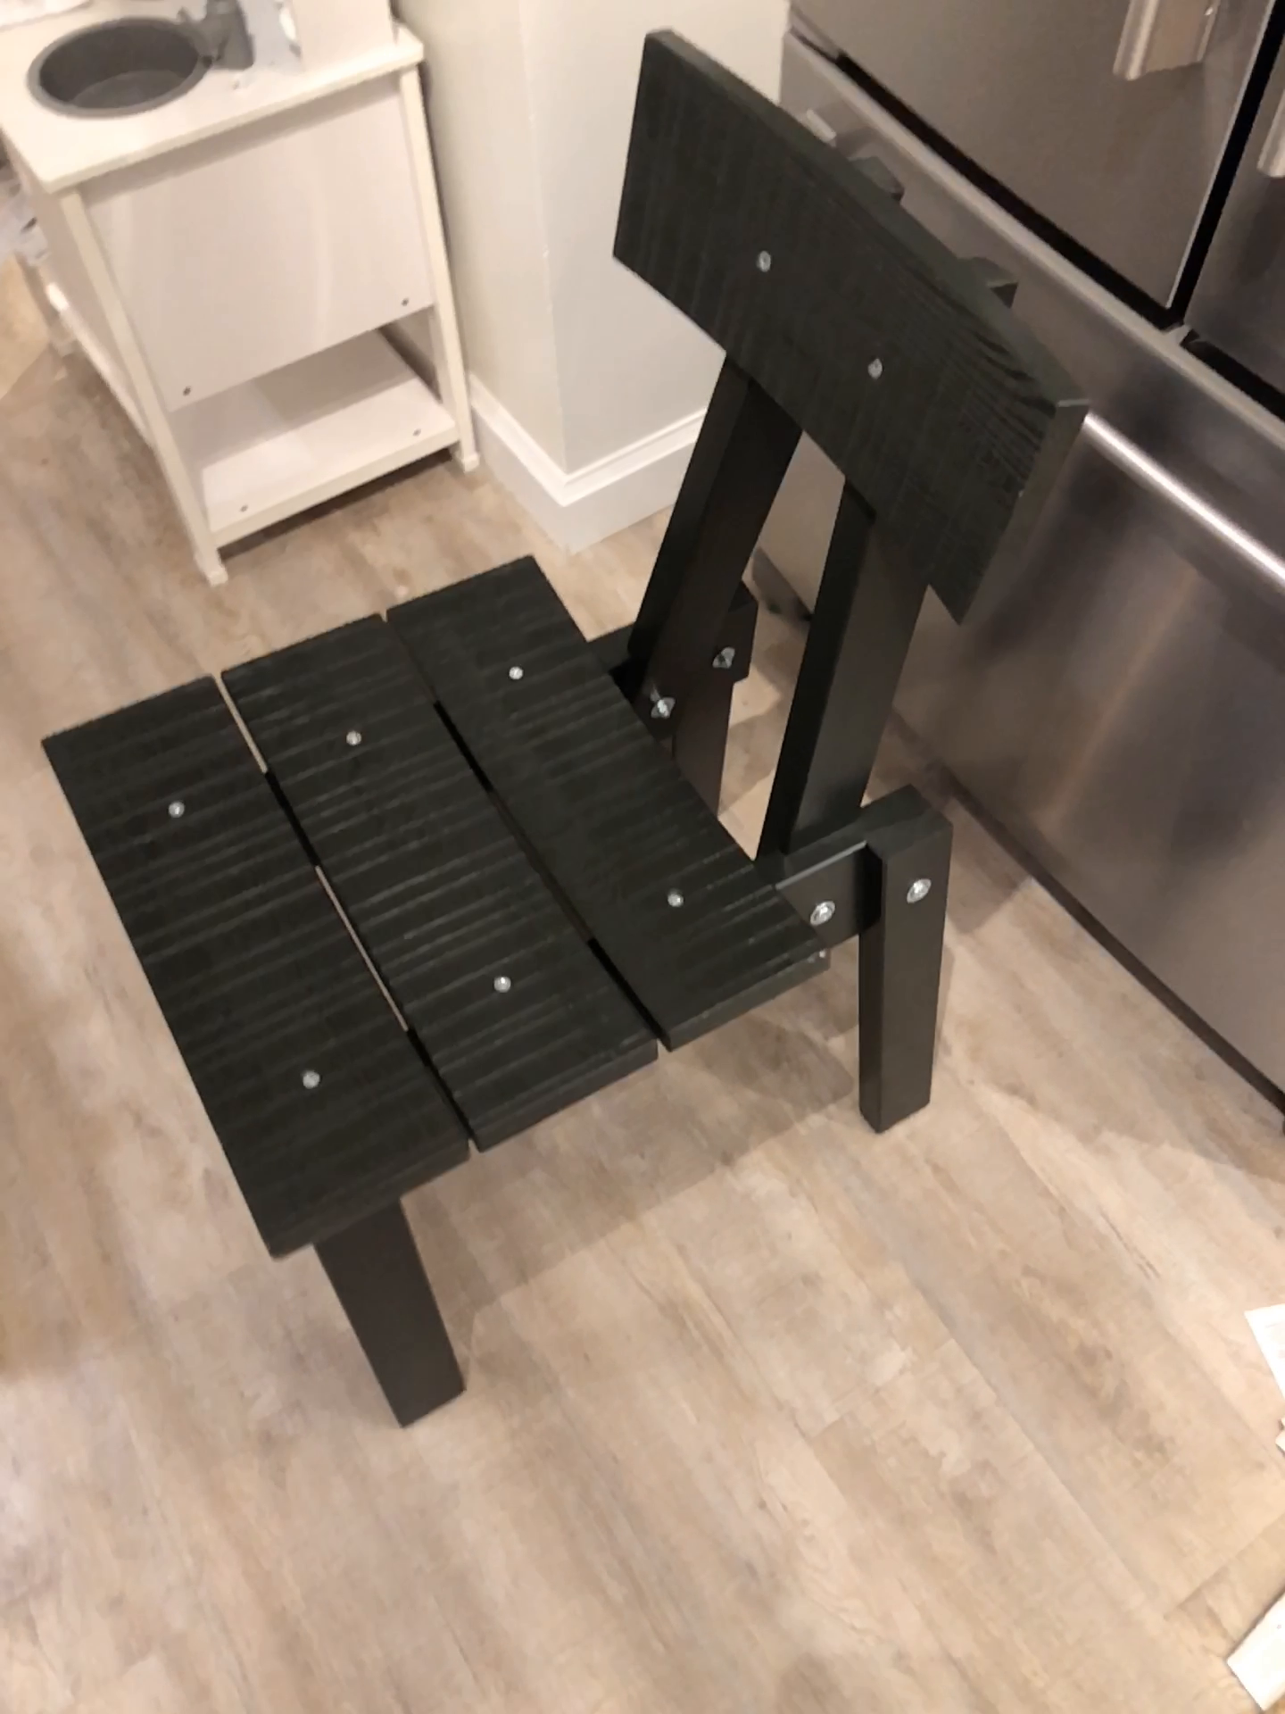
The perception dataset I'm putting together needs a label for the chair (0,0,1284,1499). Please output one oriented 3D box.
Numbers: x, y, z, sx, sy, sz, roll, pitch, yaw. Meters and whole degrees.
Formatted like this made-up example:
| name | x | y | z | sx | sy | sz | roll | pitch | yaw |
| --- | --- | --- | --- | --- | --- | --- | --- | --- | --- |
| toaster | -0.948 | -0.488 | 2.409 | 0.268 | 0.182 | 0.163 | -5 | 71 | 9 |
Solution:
| name | x | y | z | sx | sy | sz | roll | pitch | yaw |
| --- | --- | --- | --- | --- | --- | --- | --- | --- | --- |
| chair | -0.090 | -0.023 | 0.912 | 0.510 | 0.796 | 0.522 | -26 | 61 | -14 |
